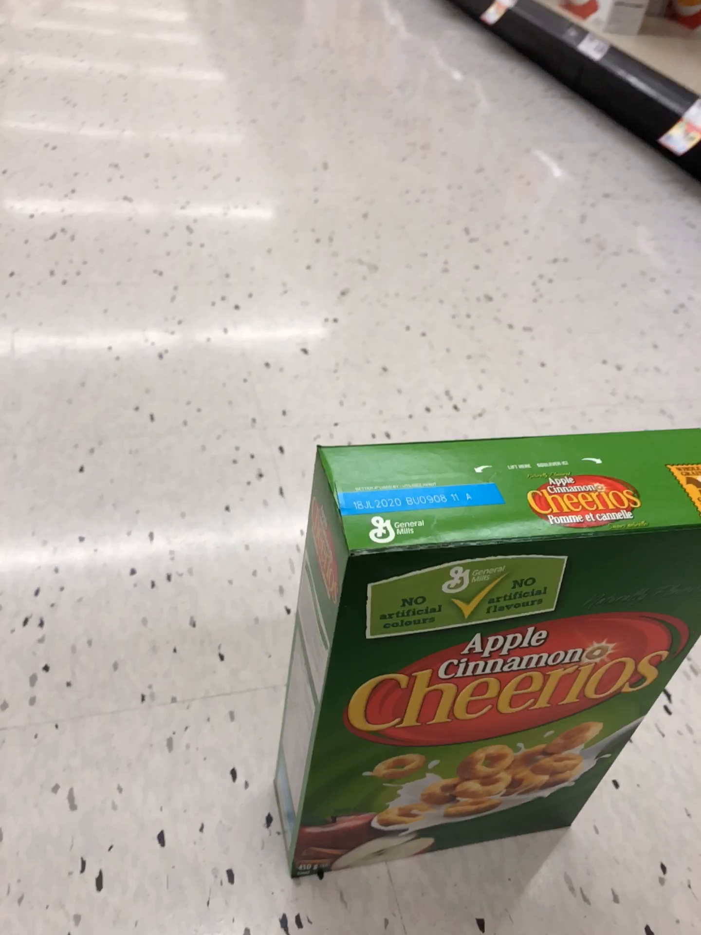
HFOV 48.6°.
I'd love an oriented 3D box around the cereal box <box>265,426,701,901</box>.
[{"bbox_3d":[0.064,0.112,0.390,0.190,0.278,0.060,-4,42,-15],"label":"cereal box"}]
